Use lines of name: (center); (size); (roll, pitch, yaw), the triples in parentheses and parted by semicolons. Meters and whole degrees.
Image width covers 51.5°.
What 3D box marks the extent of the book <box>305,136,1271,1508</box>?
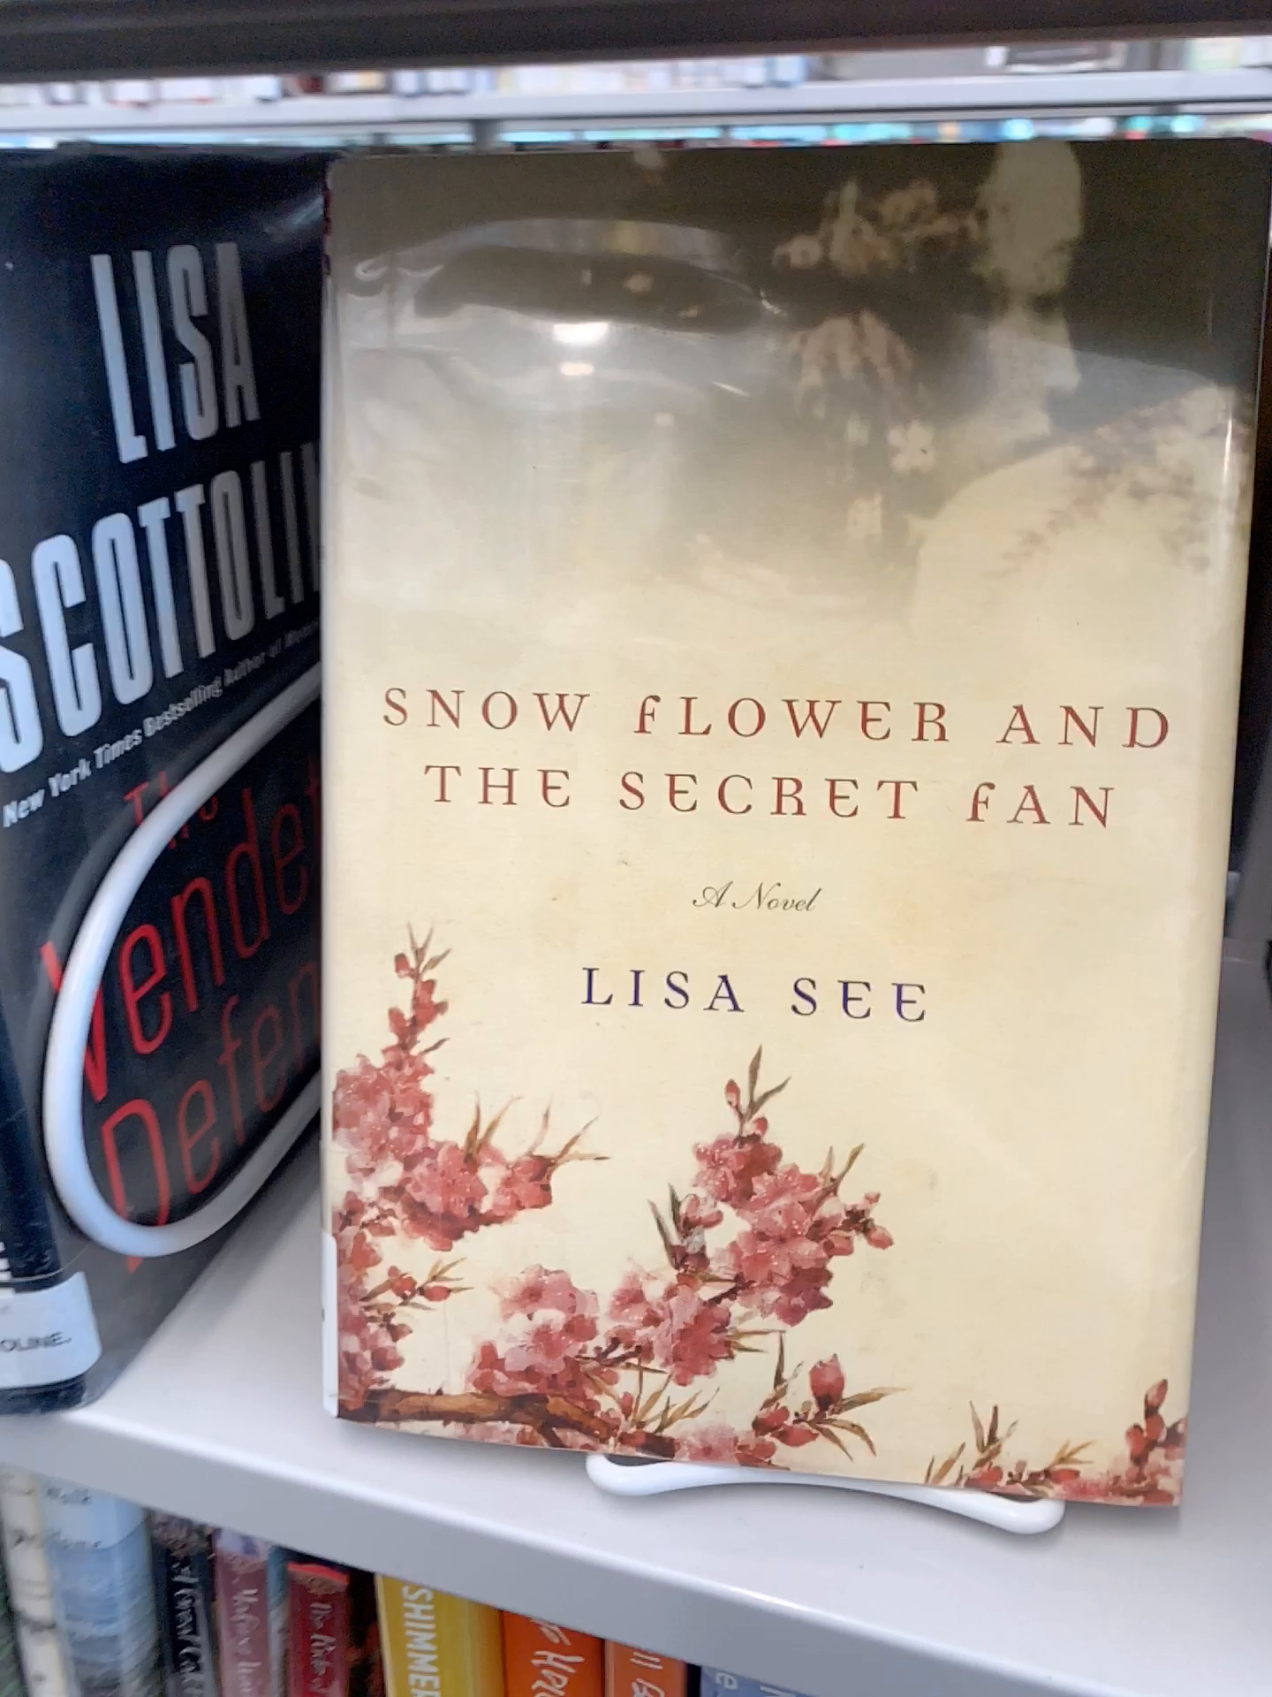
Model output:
book: (0.023, -0.003, 0.251); (0.162, 0.231, 0.041); (2, 6, 6)
